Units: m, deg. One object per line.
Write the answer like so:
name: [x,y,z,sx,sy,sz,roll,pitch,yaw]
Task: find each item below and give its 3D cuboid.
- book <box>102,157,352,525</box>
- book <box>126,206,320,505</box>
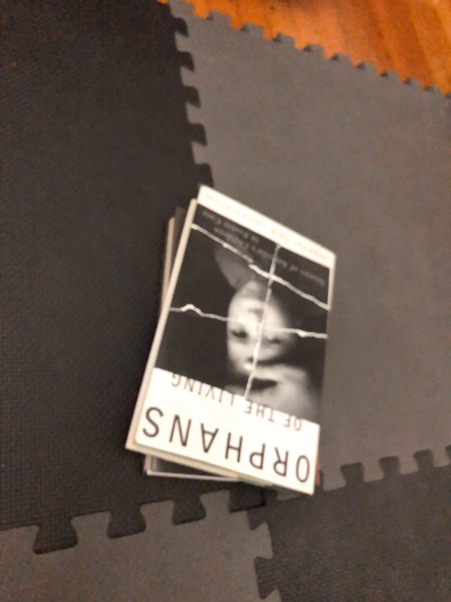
book: [0.022,0.026,0.443,0.180,0.030,0.281,22,60,-20]
book: [0.004,0.048,0.460,0.161,0.030,0.251,12,64,-25]
